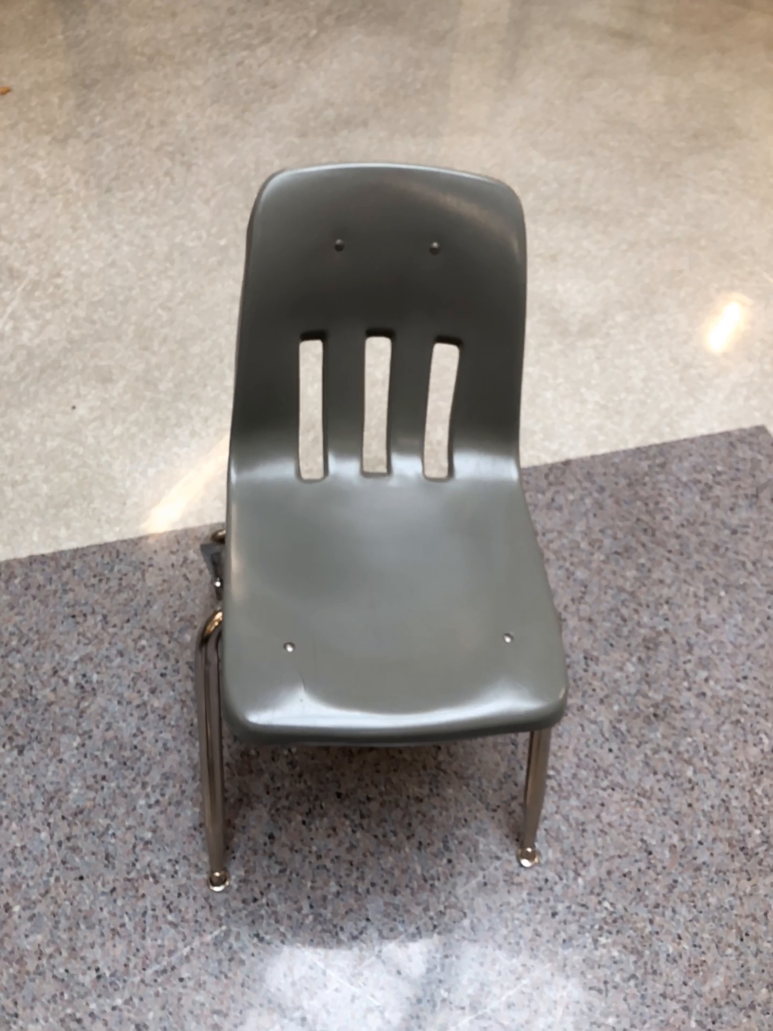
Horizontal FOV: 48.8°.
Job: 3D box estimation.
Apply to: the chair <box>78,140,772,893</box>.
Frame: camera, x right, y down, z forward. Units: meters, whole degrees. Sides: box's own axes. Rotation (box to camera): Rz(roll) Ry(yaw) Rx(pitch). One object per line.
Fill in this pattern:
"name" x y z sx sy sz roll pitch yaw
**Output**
"chair" 0.004 0.031 0.994 0.510 0.666 0.553 -1 50 -7
